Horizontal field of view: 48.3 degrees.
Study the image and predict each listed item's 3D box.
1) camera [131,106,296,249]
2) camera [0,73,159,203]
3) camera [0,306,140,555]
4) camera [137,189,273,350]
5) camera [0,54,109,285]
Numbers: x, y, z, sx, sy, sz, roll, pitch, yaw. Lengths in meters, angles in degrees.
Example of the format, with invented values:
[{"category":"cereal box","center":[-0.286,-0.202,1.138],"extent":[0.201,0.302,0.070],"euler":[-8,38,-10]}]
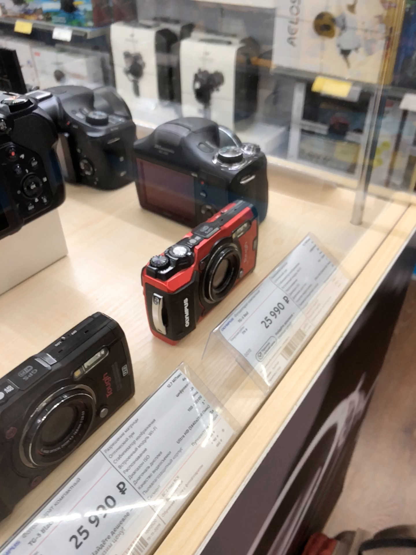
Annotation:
[{"category":"camera","center":[0.006,-0.101,0.443],"extent":[0.117,0.078,0.094],"euler":[24,45,28]},{"category":"camera","center":[-0.153,-0.168,0.539],"extent":[0.158,0.086,0.103],"euler":[24,44,28]},{"category":"camera","center":[-0.091,0.076,0.251],"extent":[0.030,0.061,0.117],"euler":[24,45,28]},{"category":"camera","center":[0.003,-0.010,0.341],"extent":[0.030,0.061,0.119],"euler":[24,45,28]},{"category":"camera","center":[-0.175,-0.090,0.331],"extent":[0.127,0.086,0.147],"euler":[24,45,29]}]
